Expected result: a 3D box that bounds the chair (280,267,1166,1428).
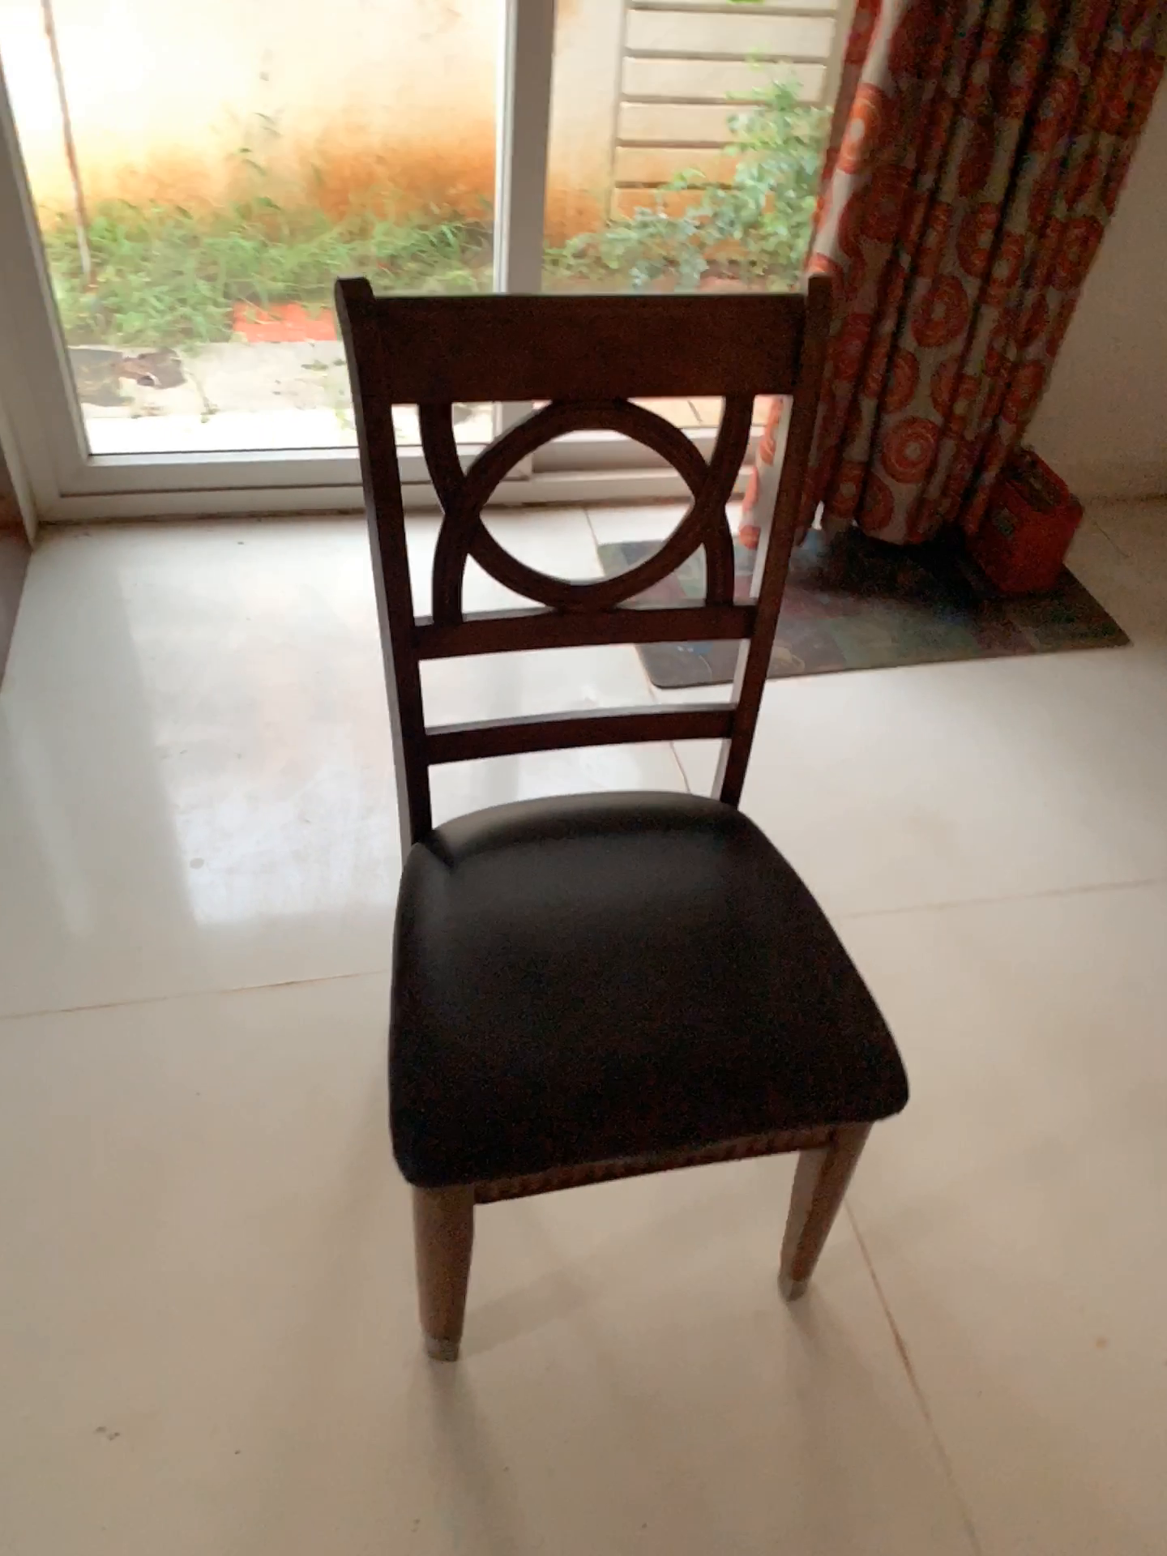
[{"bbox_3d":[0.032,0.114,1.236,0.570,1.026,0.642,-5,45,-10],"label":"chair"}]
